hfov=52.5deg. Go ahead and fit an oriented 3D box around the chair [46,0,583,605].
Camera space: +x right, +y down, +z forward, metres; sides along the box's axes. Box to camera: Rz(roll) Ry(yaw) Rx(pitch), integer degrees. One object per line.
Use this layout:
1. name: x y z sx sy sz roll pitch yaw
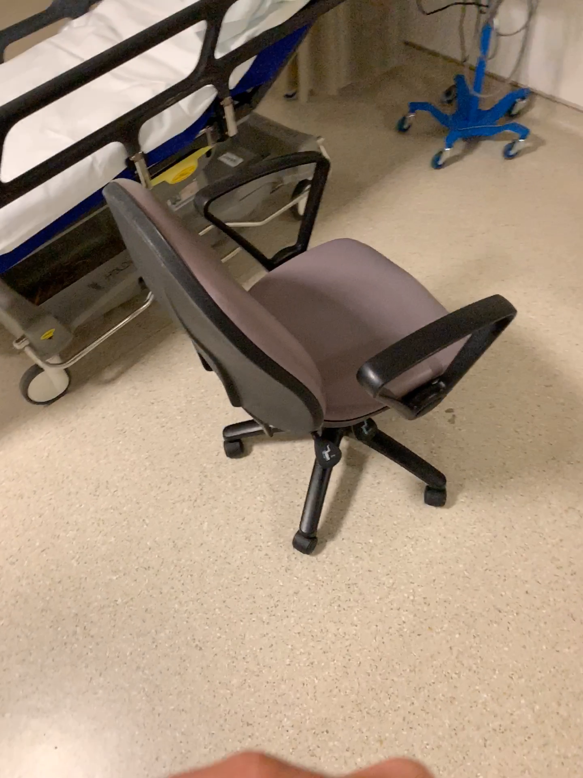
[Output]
1. chair: 0.103 -0.153 1.237 0.711 0.883 0.654 -28 57 -14
